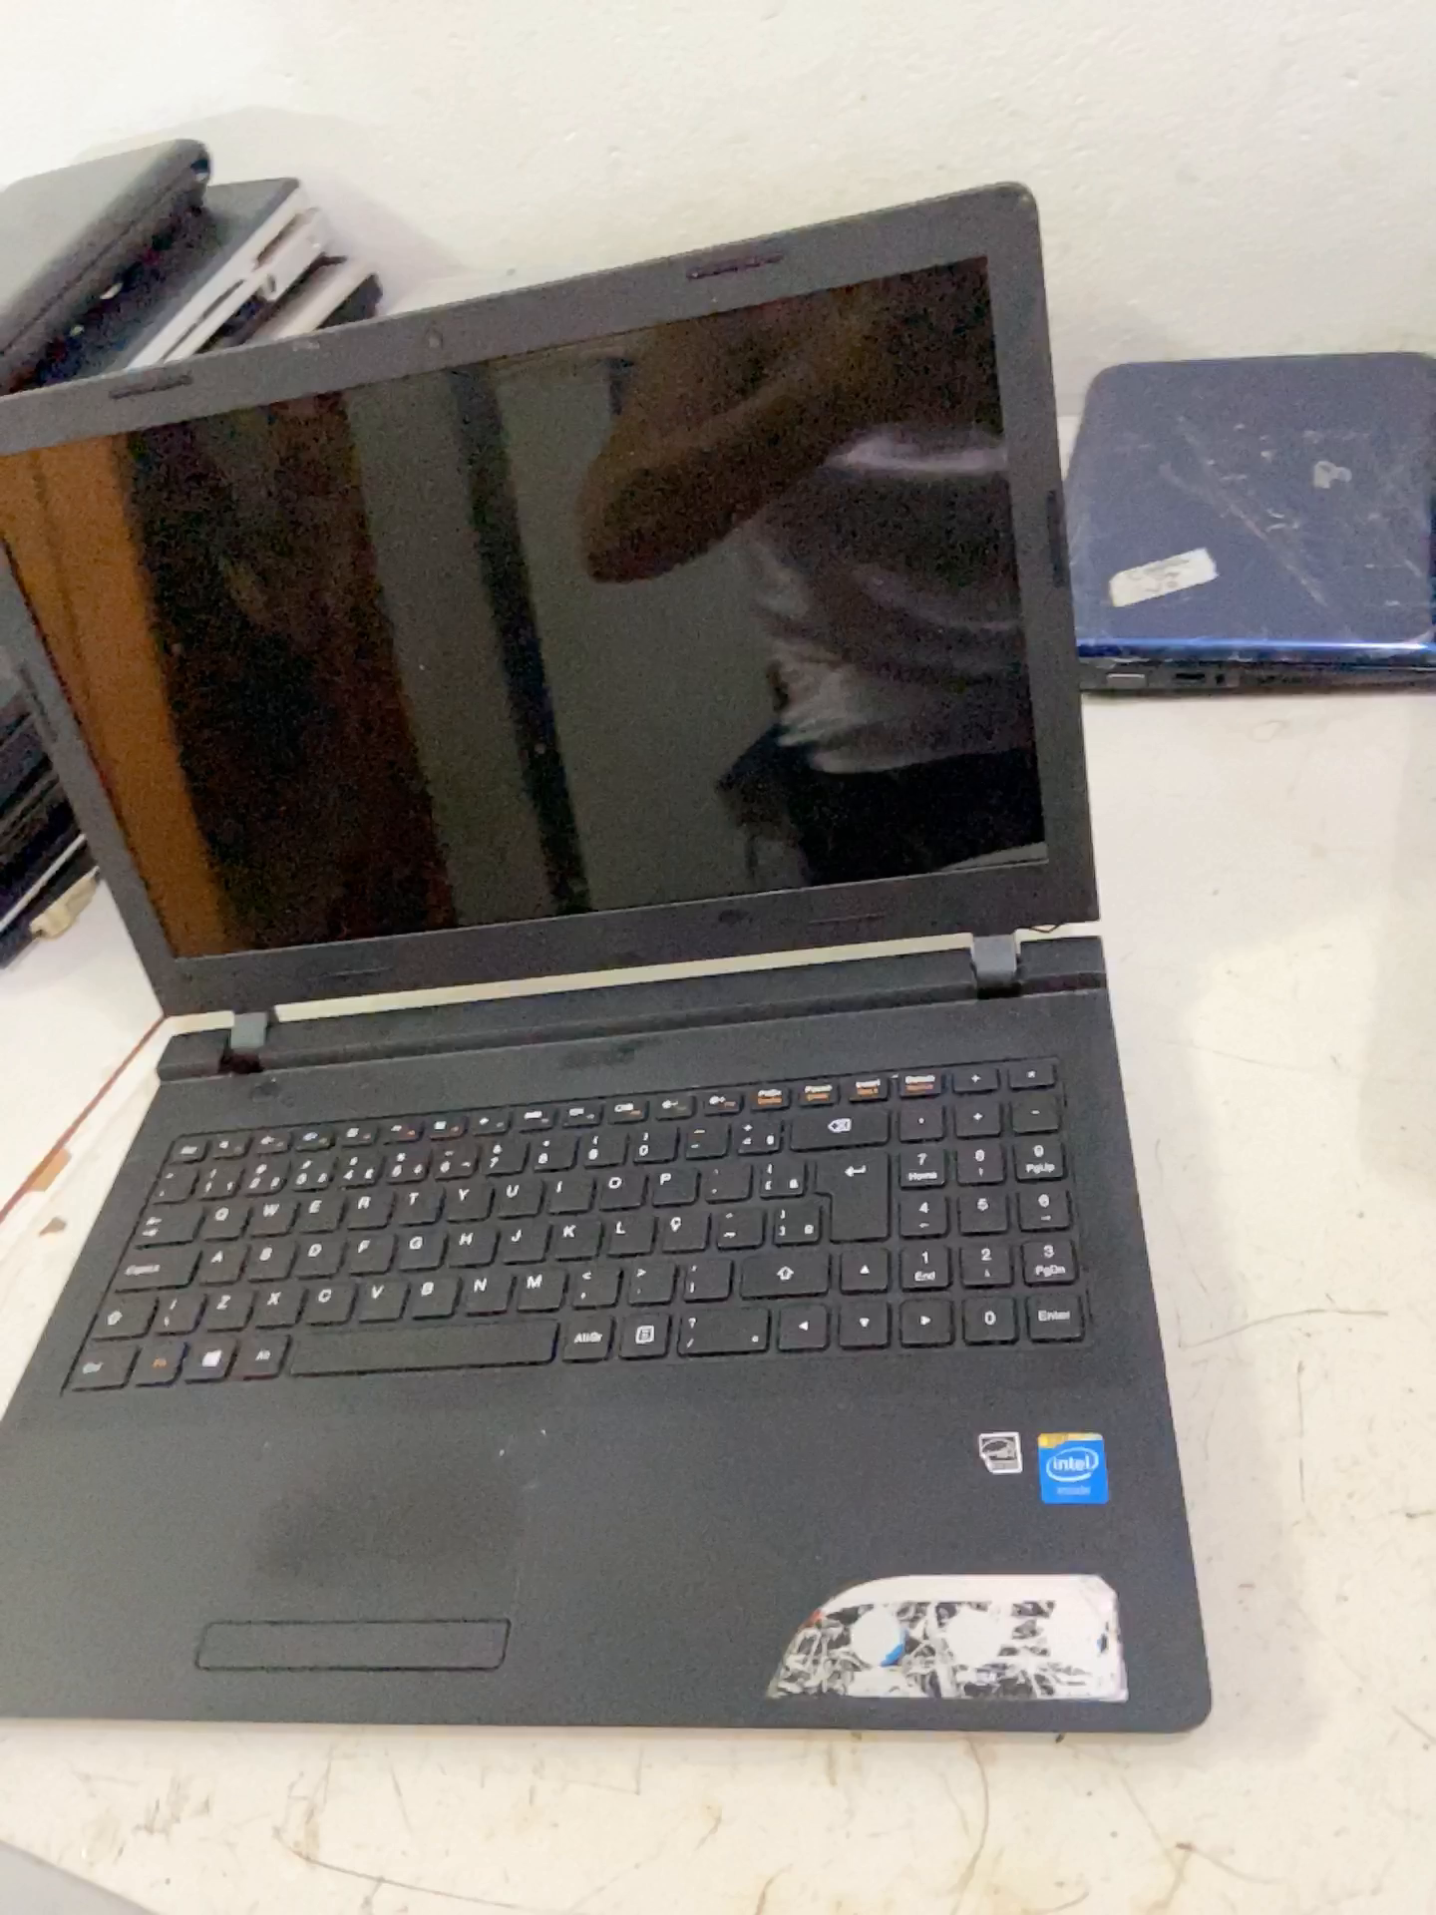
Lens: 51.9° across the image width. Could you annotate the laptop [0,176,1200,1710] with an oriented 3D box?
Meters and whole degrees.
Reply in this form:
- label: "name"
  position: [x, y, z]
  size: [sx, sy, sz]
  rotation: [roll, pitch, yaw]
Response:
- label: "laptop"
  position: [-0.079, -0.003, 0.429]
  size: [0.375, 0.230, 0.339]
  rotation: [-6, 45, 13]
